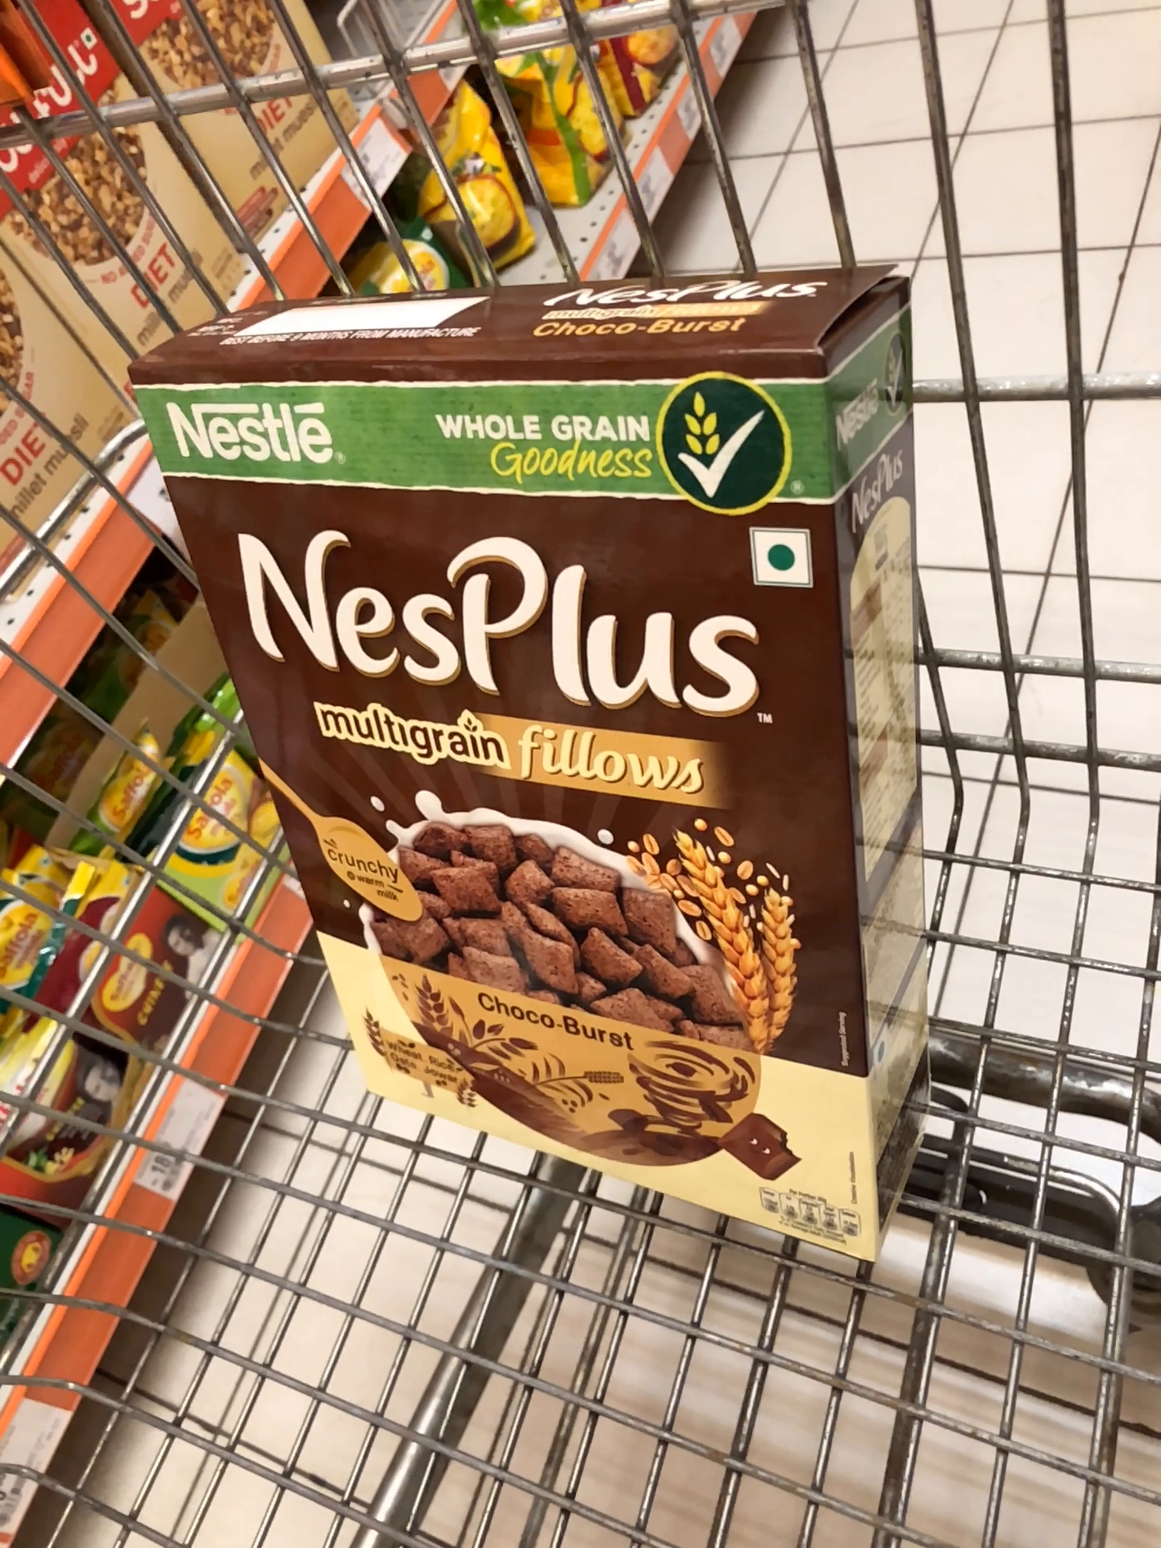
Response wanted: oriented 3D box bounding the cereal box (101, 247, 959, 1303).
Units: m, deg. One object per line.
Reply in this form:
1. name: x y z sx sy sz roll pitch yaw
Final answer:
1. cereal box: -0.001 0.005 0.353 0.191 0.259 0.060 9 35 30
